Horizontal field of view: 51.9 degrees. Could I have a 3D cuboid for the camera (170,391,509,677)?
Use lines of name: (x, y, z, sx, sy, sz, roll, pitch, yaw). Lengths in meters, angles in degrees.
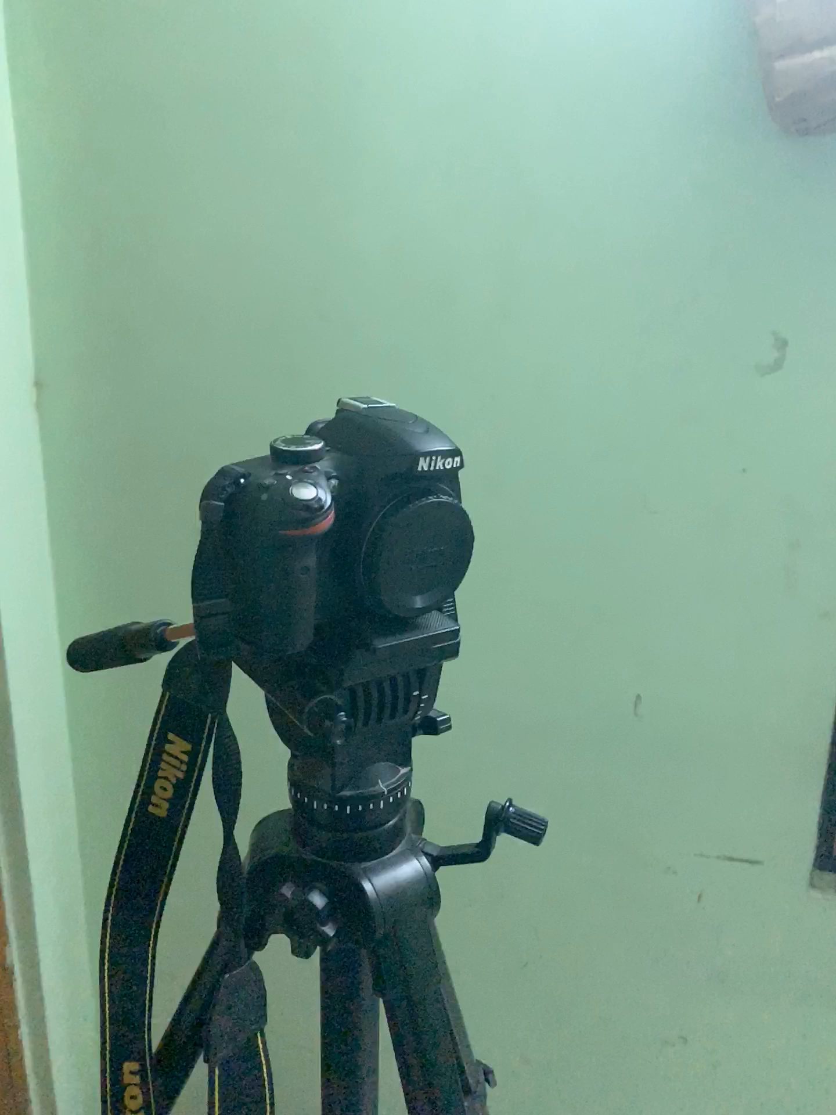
camera: (-0.034, -0.020, 0.383, 0.118, 0.096, 0.086, -12, 20, -38)
